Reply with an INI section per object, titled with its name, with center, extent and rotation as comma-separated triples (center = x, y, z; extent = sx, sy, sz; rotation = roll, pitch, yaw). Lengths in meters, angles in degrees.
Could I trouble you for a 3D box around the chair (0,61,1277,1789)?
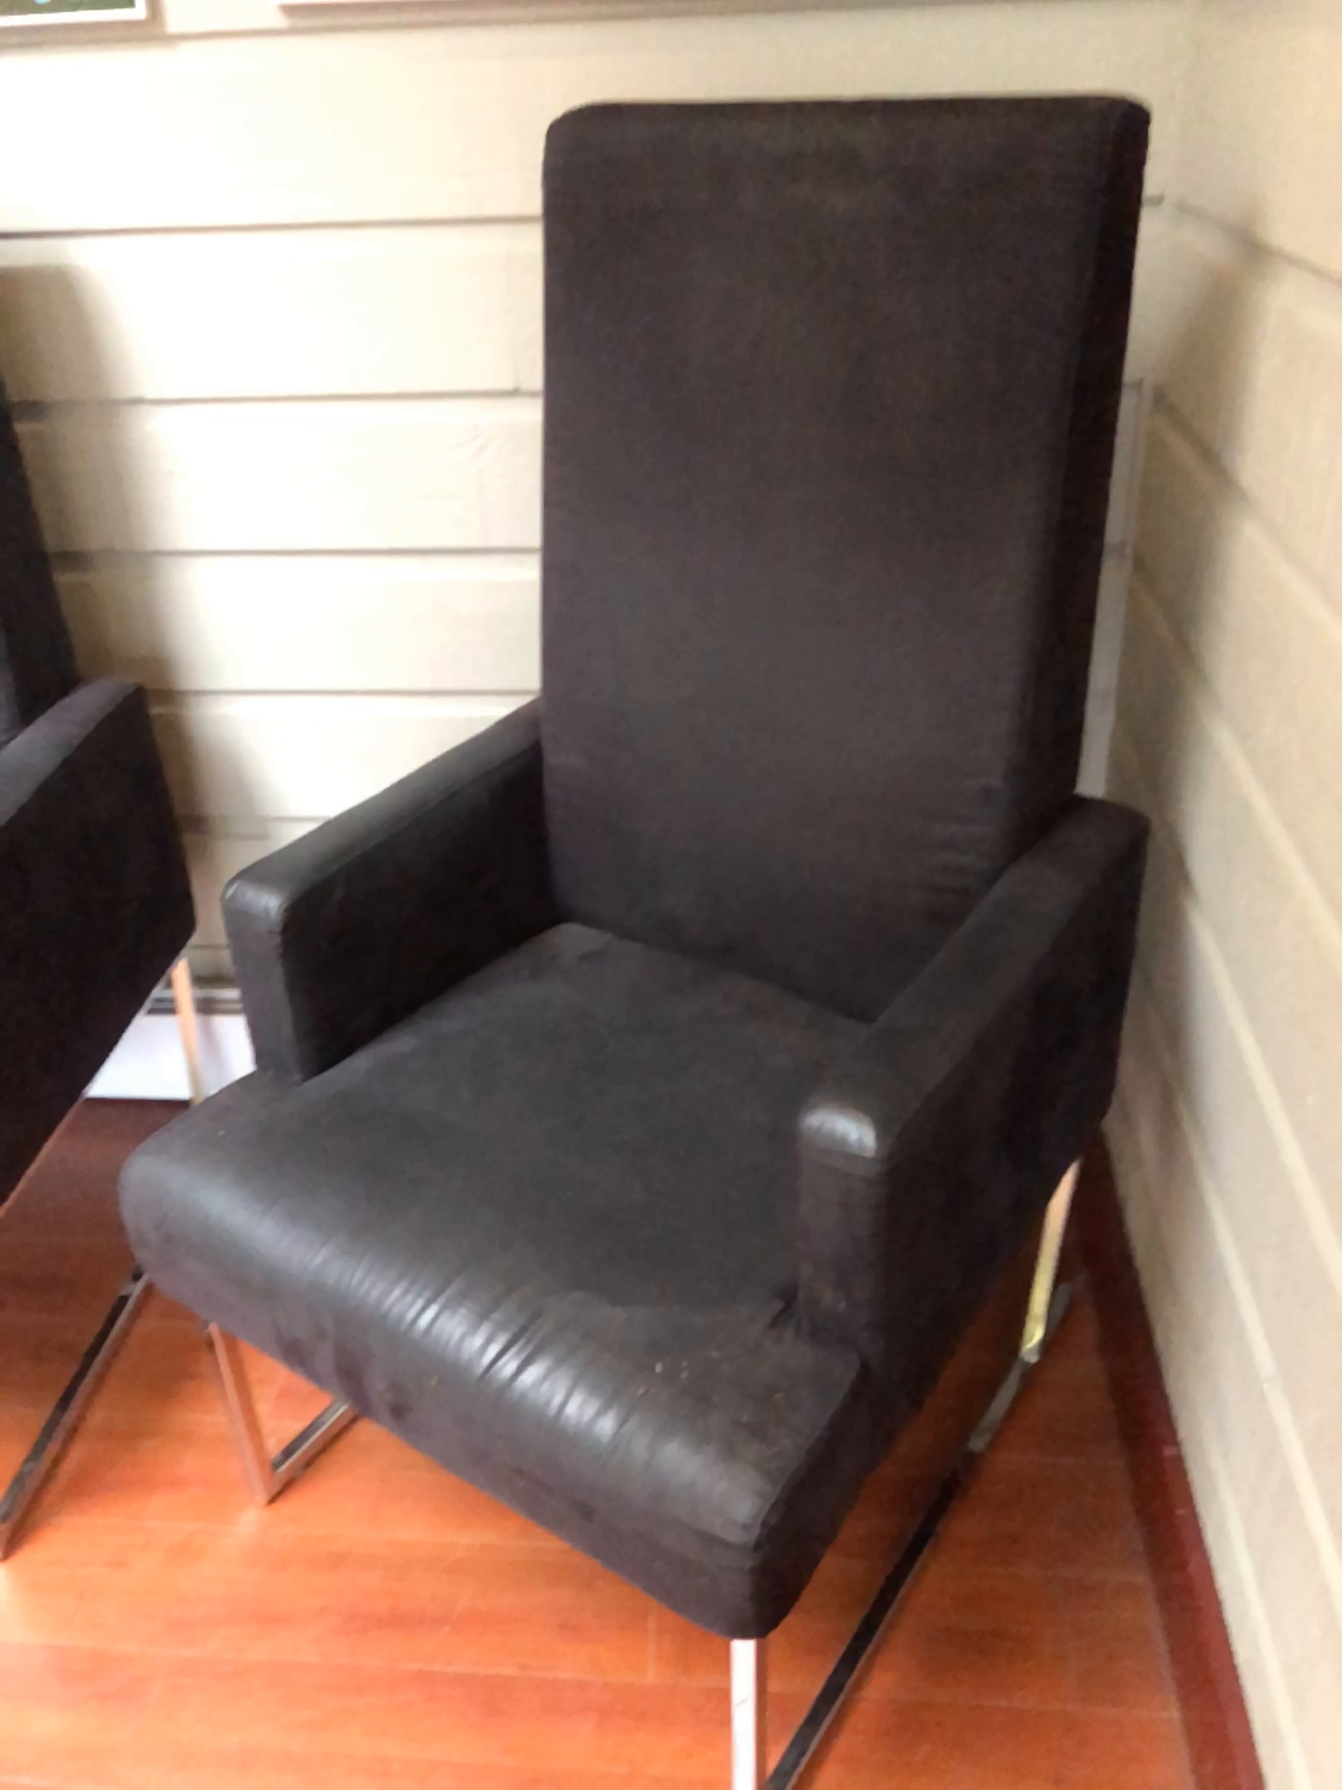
[chair]
center = -0.037, -0.006, 1.146
extent = 0.632, 1.082, 0.702
rotation = 17, 35, 31
